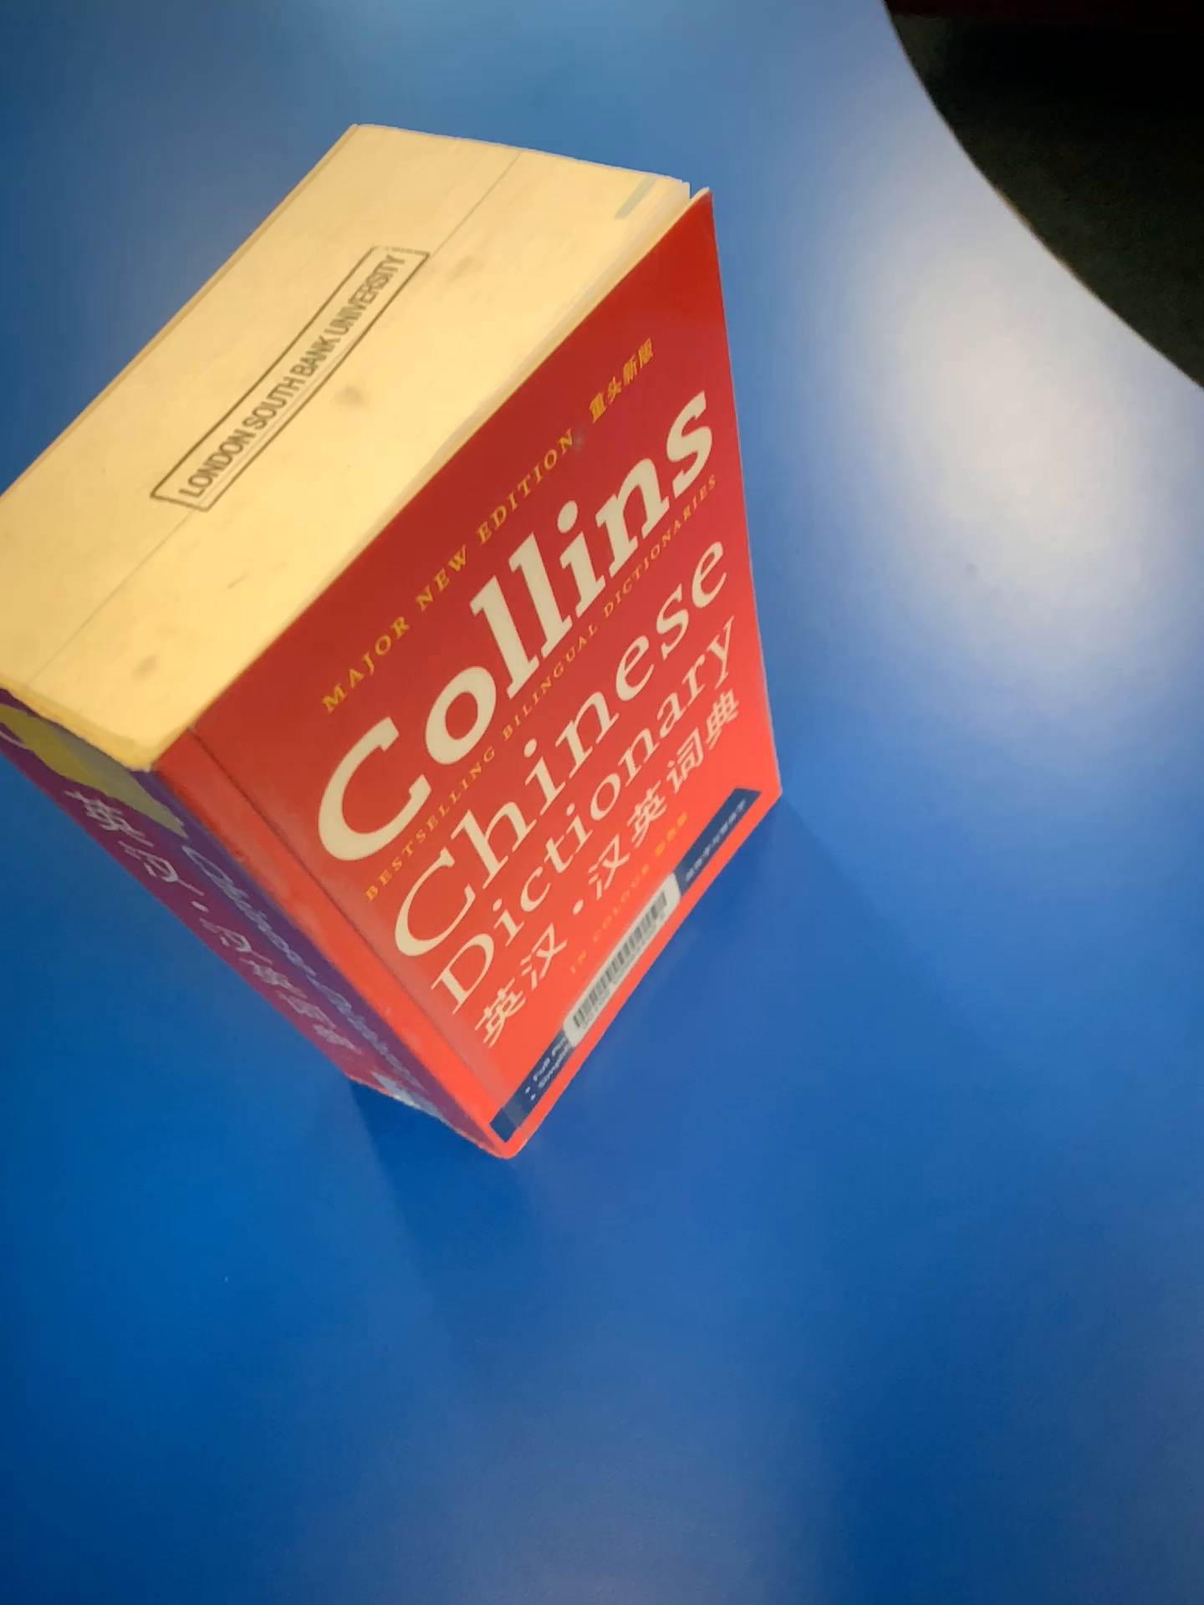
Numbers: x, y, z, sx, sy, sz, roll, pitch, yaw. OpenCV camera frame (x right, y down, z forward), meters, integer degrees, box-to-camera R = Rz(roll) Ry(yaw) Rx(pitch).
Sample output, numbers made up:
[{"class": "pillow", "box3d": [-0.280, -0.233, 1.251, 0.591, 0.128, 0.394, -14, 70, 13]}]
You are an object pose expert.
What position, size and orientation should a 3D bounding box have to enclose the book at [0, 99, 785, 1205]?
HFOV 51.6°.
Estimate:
[{"class": "book", "box3d": [-0.028, -0.015, 0.280, 0.080, 0.199, 0.140, 21, 66, 21]}]
